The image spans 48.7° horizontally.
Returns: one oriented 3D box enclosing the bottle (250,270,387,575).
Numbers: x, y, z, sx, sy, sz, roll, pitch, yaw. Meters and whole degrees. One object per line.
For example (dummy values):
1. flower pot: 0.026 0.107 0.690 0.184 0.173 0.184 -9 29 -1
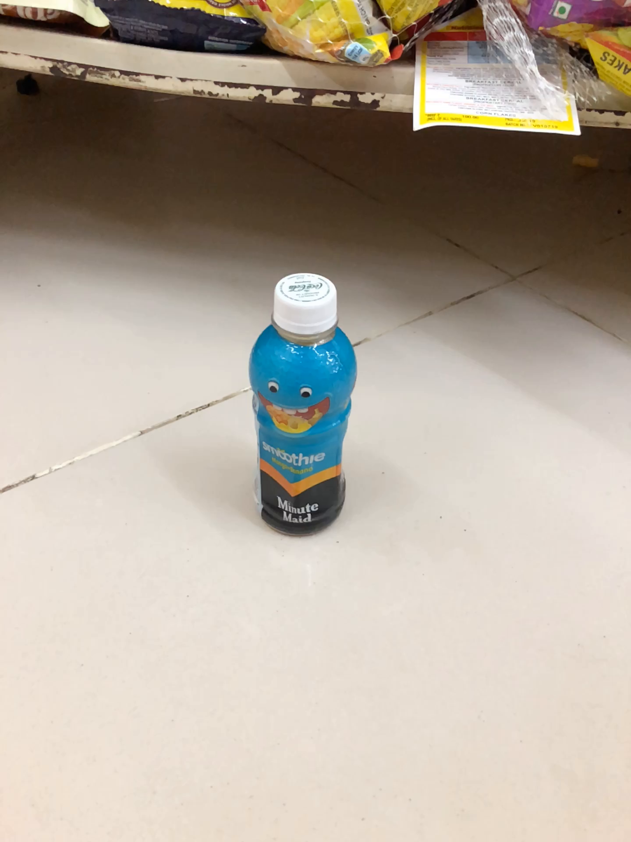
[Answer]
1. bottle: -0.001 0.006 0.388 0.060 0.159 0.060 3 38 -2
